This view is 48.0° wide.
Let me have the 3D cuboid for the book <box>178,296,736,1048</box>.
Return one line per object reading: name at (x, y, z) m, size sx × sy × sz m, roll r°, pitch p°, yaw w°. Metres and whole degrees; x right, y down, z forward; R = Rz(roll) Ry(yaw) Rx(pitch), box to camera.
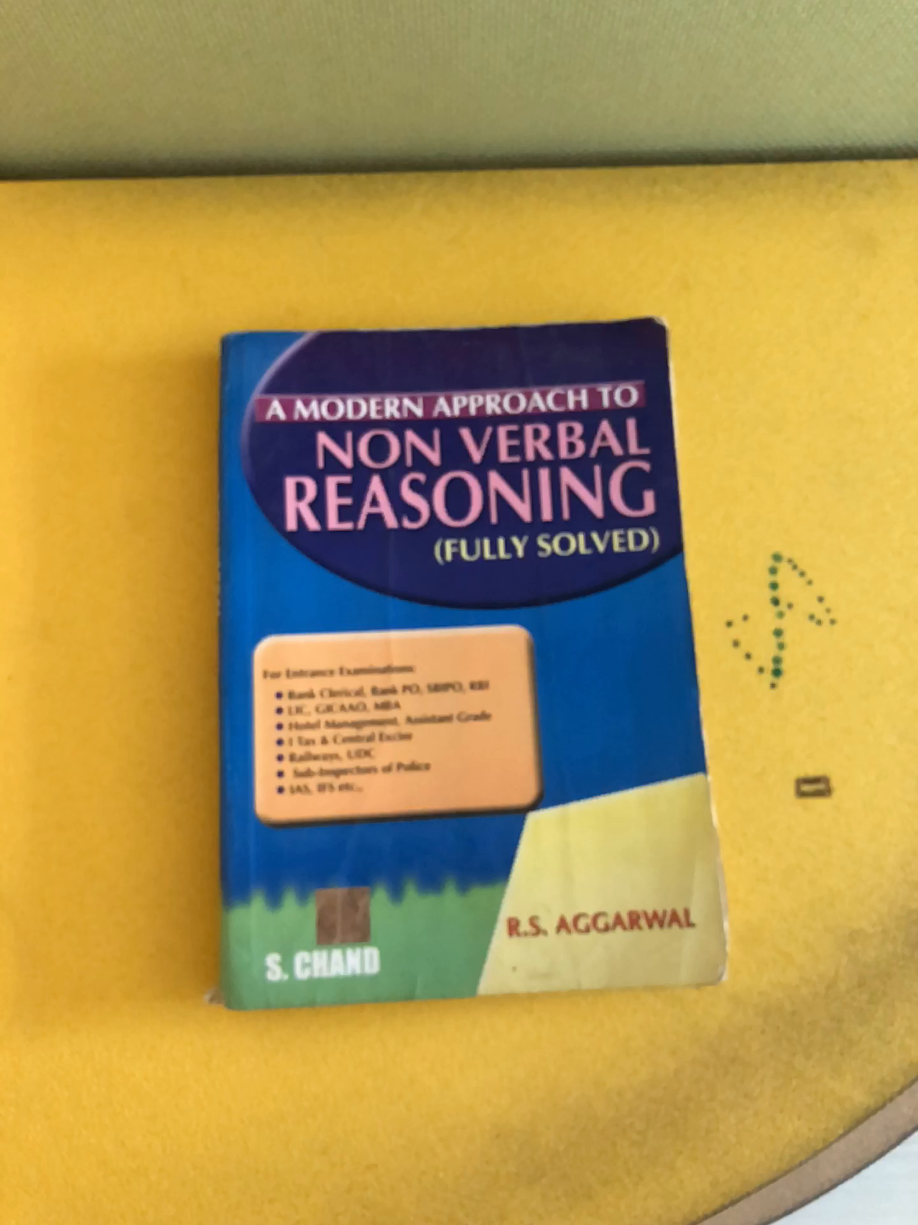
book at (-0.007, 0.013, 0.358) m, size 0.170 × 0.040 × 0.240 m, roll -3°, pitch 79°, yaw -3°
